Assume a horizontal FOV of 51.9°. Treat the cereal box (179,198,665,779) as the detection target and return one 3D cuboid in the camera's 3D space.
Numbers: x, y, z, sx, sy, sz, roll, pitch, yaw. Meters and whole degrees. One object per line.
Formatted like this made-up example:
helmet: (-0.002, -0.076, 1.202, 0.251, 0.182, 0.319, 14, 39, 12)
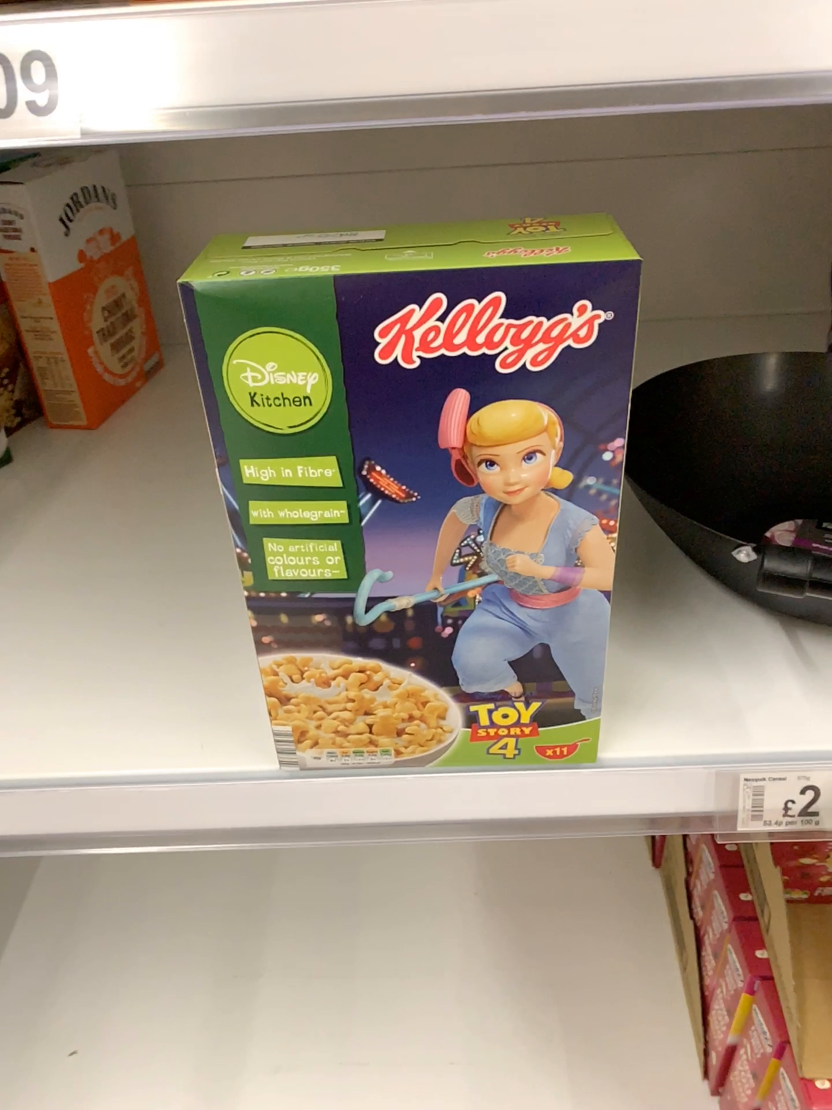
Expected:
cereal box: (0.010, -0.017, 0.450, 0.190, 0.297, 0.081, -2, 34, 3)
